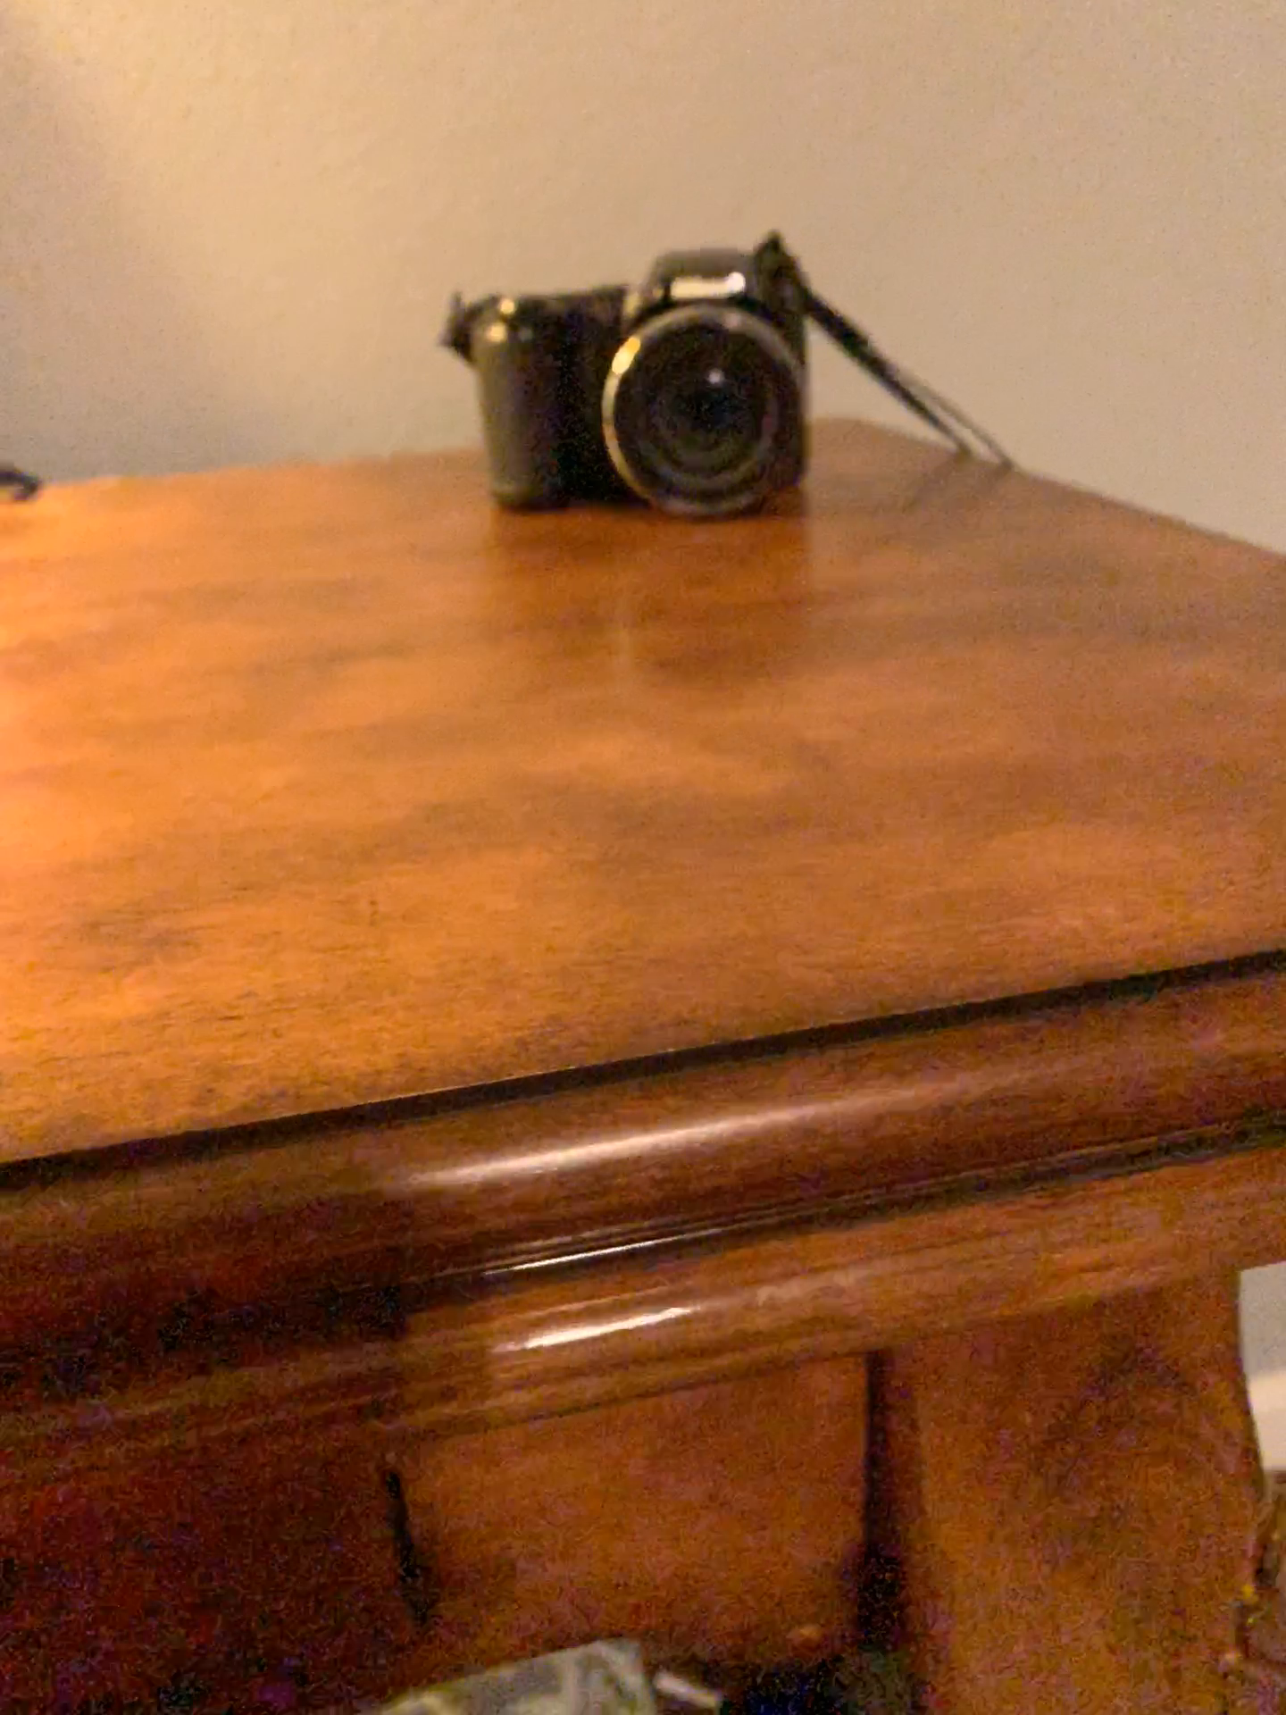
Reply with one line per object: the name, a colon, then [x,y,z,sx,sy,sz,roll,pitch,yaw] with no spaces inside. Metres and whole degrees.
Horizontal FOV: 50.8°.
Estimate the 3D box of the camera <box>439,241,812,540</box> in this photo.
camera: [0.000,-0.167,0.474,0.110,0.081,0.123,-2,23,4]
